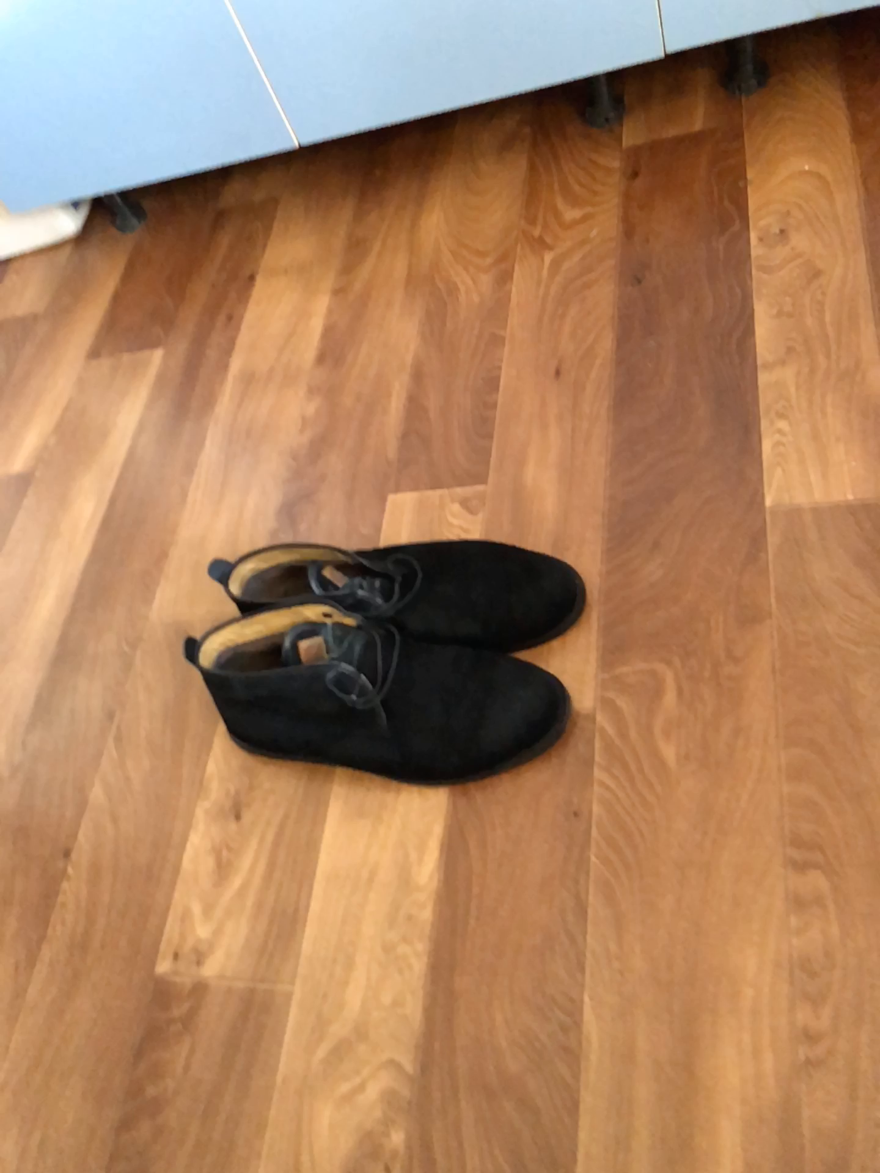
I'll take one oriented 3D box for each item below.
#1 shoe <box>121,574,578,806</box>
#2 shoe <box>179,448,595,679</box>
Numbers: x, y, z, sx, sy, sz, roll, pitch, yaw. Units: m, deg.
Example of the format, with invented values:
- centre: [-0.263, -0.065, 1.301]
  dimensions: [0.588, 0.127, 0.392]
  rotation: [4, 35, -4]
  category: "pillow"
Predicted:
- centre: [-0.061, 0.073, 0.706]
  dimensions: [0.291, 0.129, 0.110]
  rotation: [1, 59, 22]
  category: "shoe"
- centre: [-0.035, -0.010, 0.760]
  dimensions: [0.290, 0.129, 0.111]
  rotation: [-4, 57, 19]
  category: "shoe"
